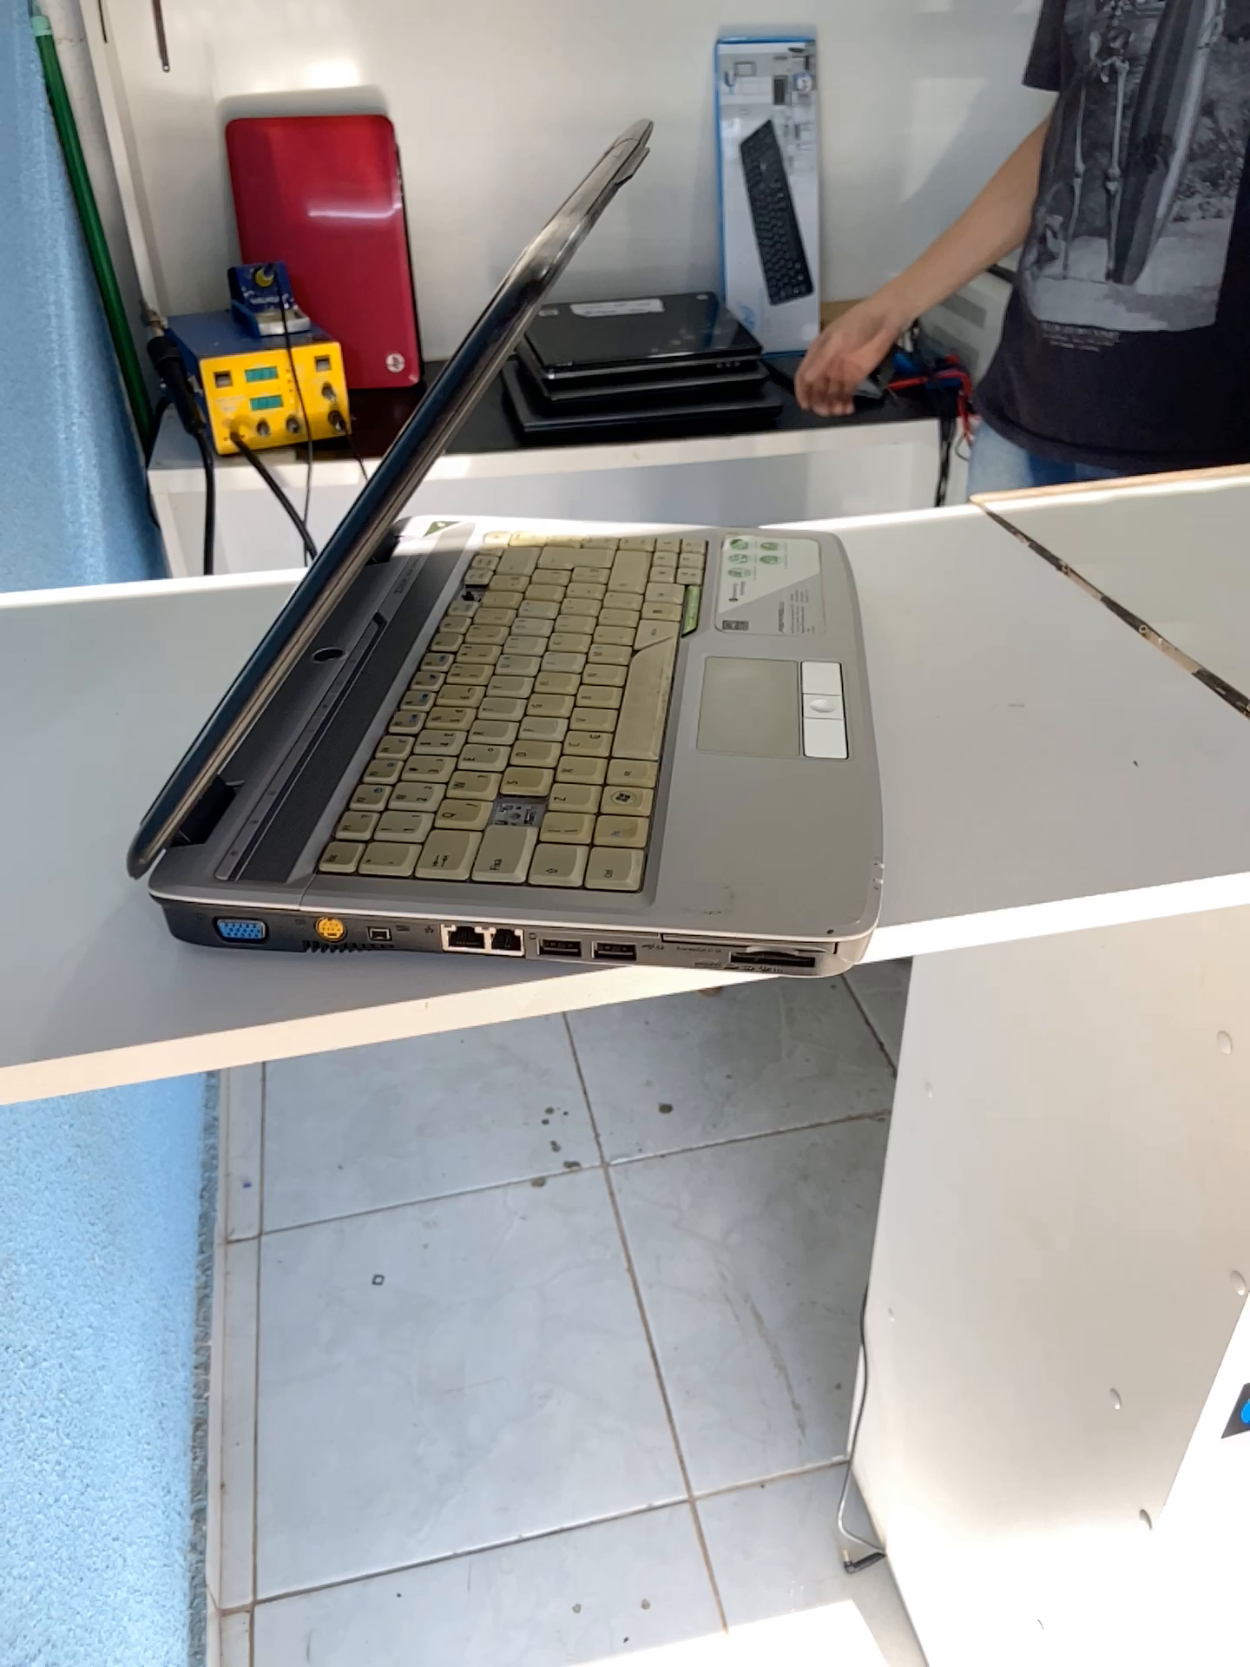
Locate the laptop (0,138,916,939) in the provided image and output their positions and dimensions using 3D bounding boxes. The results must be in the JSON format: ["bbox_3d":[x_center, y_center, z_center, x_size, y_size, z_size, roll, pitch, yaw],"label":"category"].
[{"bbox_3d":[-0.025,-0.142,0.489,0.225,0.179,0.330,3,35,5],"label":"laptop"}]
